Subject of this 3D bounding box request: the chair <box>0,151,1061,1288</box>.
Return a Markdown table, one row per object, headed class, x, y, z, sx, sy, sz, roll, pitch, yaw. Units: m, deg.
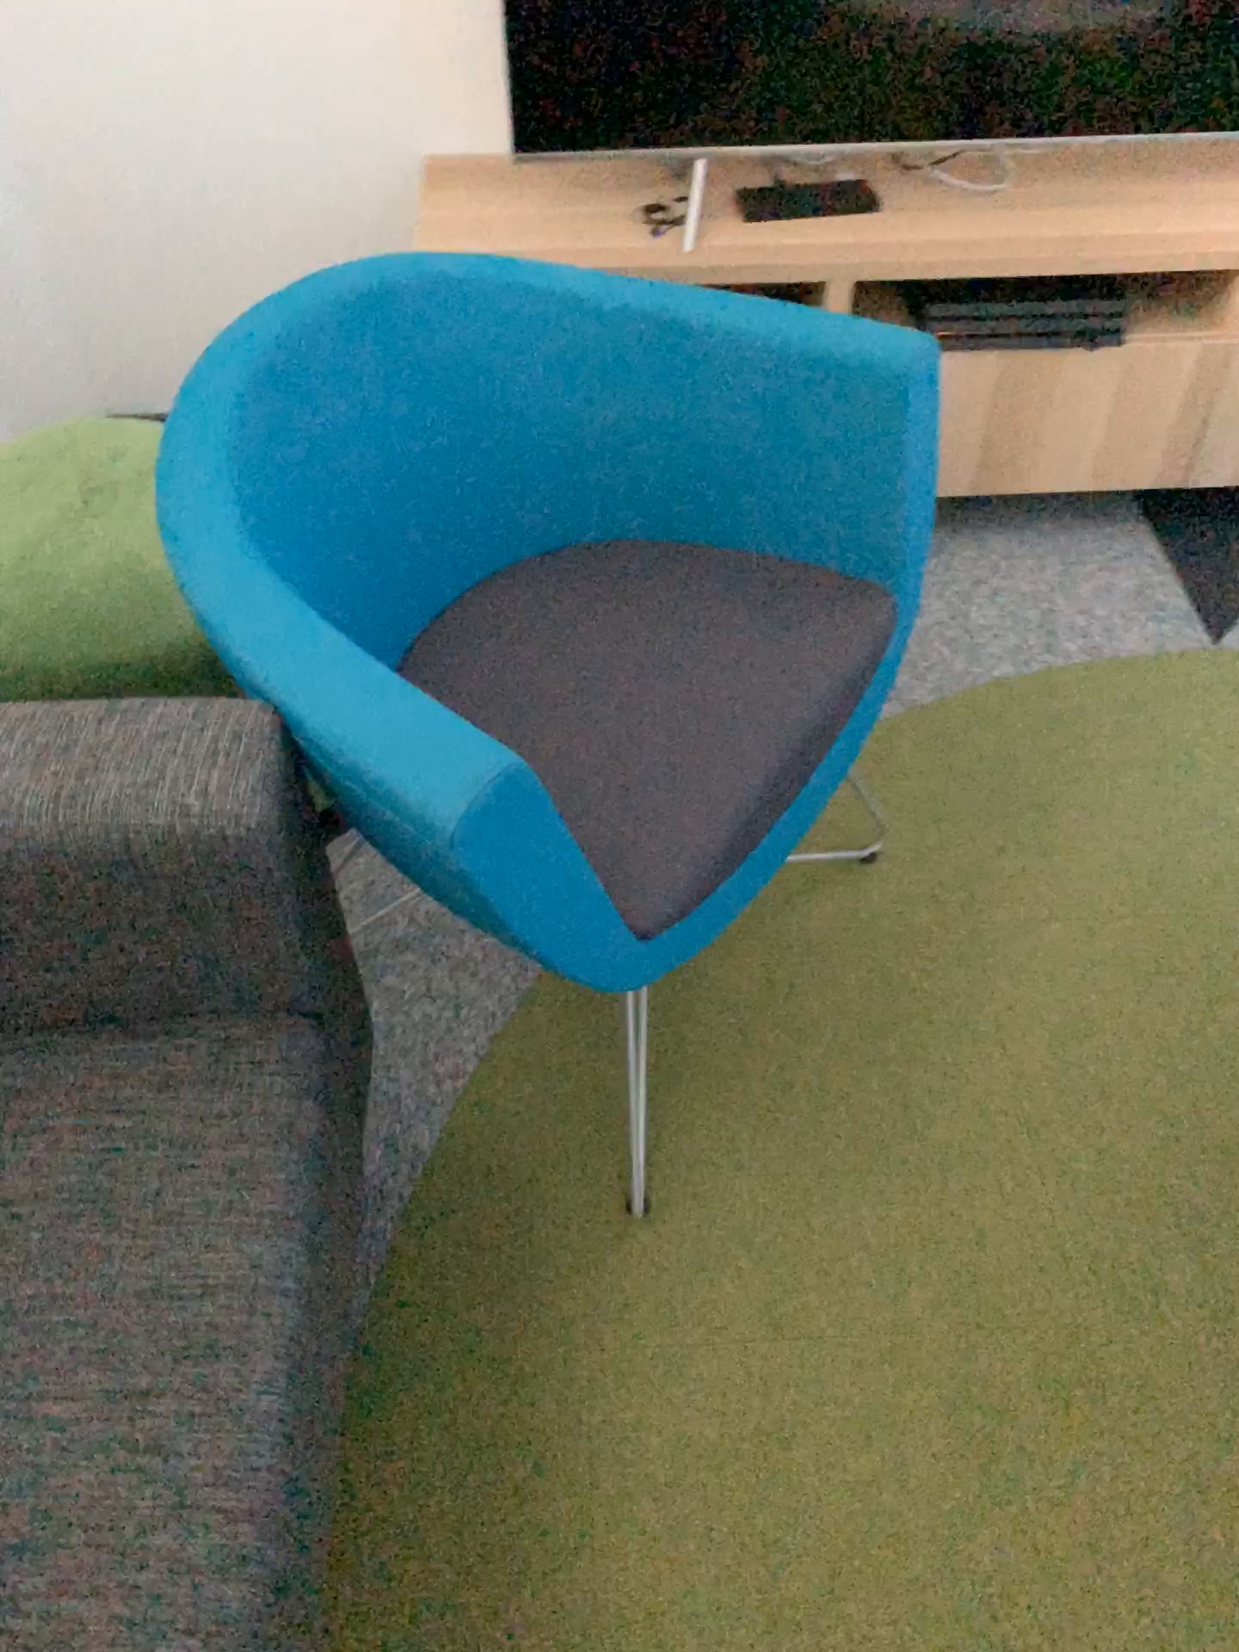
| class | x | y | z | sx | sy | sz | roll | pitch | yaw |
| --- | --- | --- | --- | --- | --- | --- | --- | --- | --- |
| chair | -0.058 | -0.141 | 1.310 | 0.621 | 0.687 | 0.763 | 25 | 53 | 21 |
